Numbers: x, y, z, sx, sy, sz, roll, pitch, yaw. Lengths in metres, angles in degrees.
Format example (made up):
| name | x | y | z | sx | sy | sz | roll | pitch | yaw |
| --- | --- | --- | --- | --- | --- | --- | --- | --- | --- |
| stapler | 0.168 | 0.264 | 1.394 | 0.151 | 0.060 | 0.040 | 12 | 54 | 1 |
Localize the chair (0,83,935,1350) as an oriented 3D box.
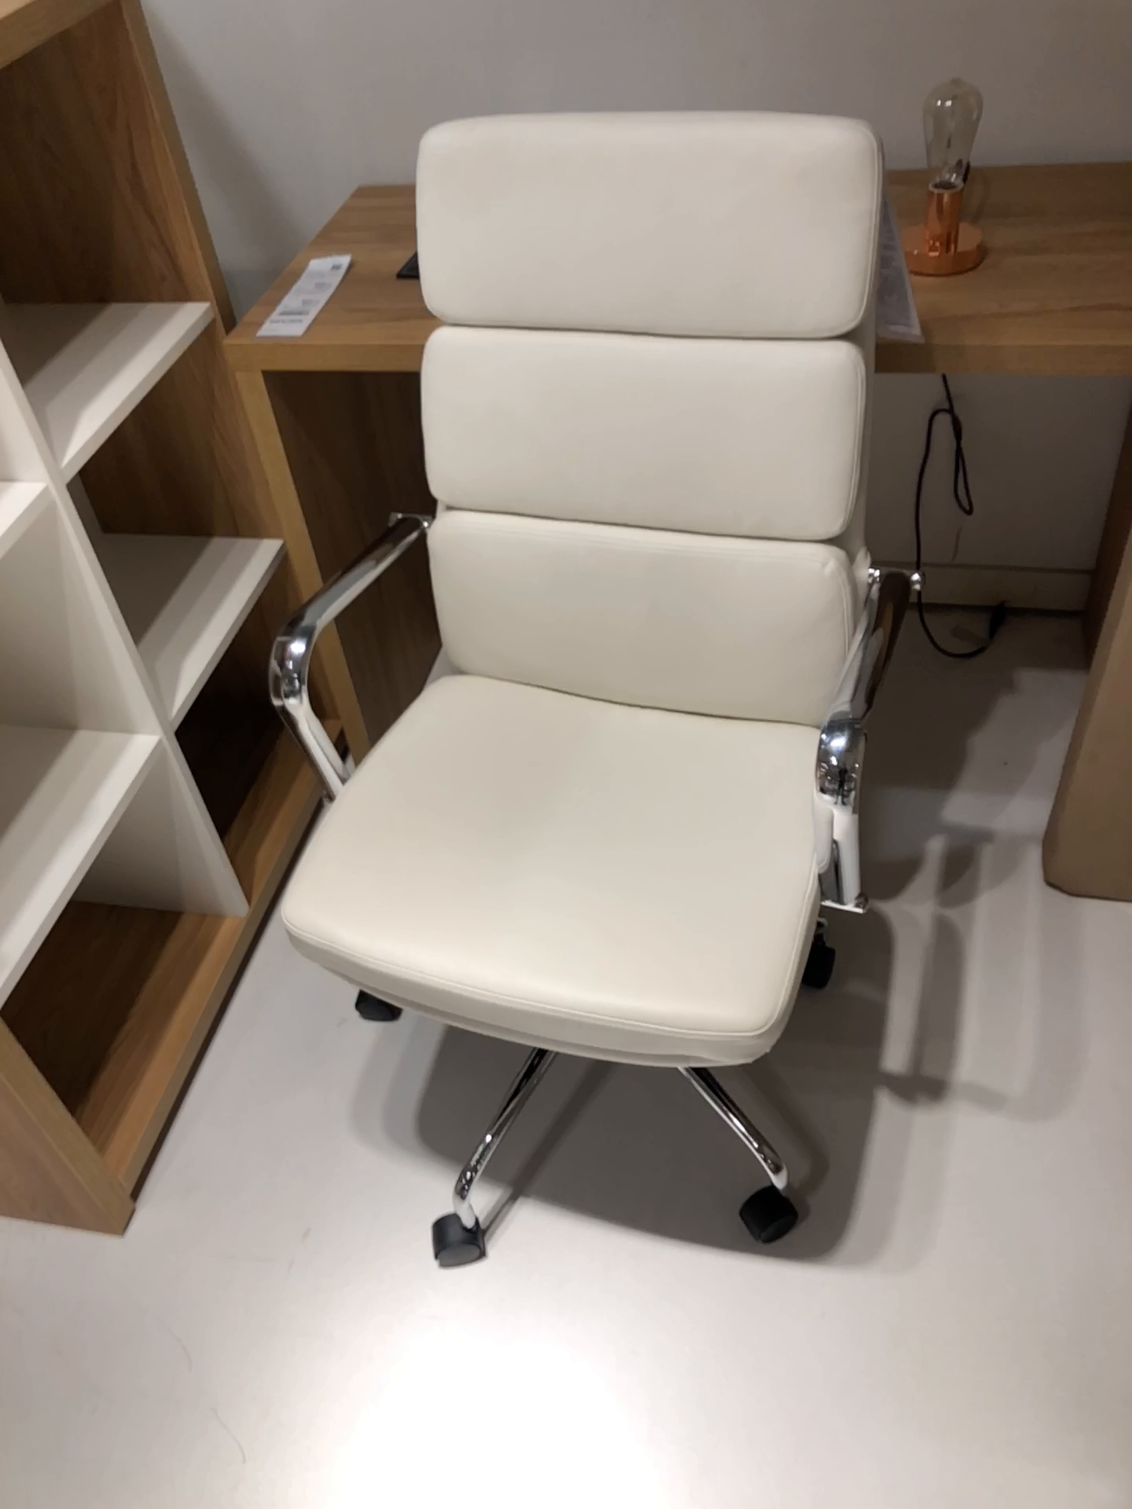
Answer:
| name | x | y | z | sx | sy | sz | roll | pitch | yaw |
| --- | --- | --- | --- | --- | --- | --- | --- | --- | --- |
| chair | -0.021 | -0.008 | 1.282 | 0.640 | 1.033 | 0.684 | 6 | 45 | 15 |
